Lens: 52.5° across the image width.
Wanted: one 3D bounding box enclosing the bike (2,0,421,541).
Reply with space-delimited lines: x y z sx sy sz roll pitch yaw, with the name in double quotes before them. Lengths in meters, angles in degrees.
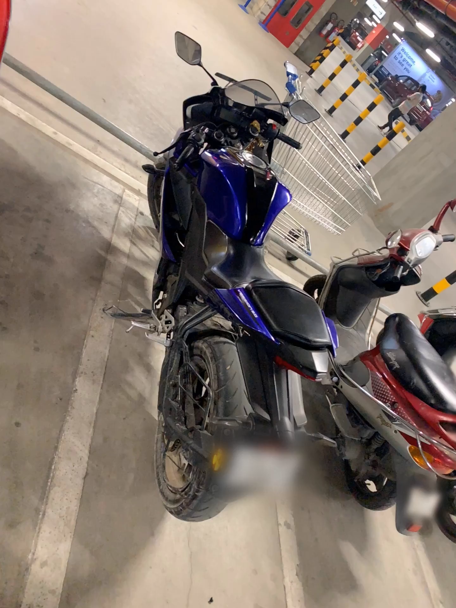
"bike" -0.241 -0.237 1.682 0.689 0.932 1.652 18 44 -37
